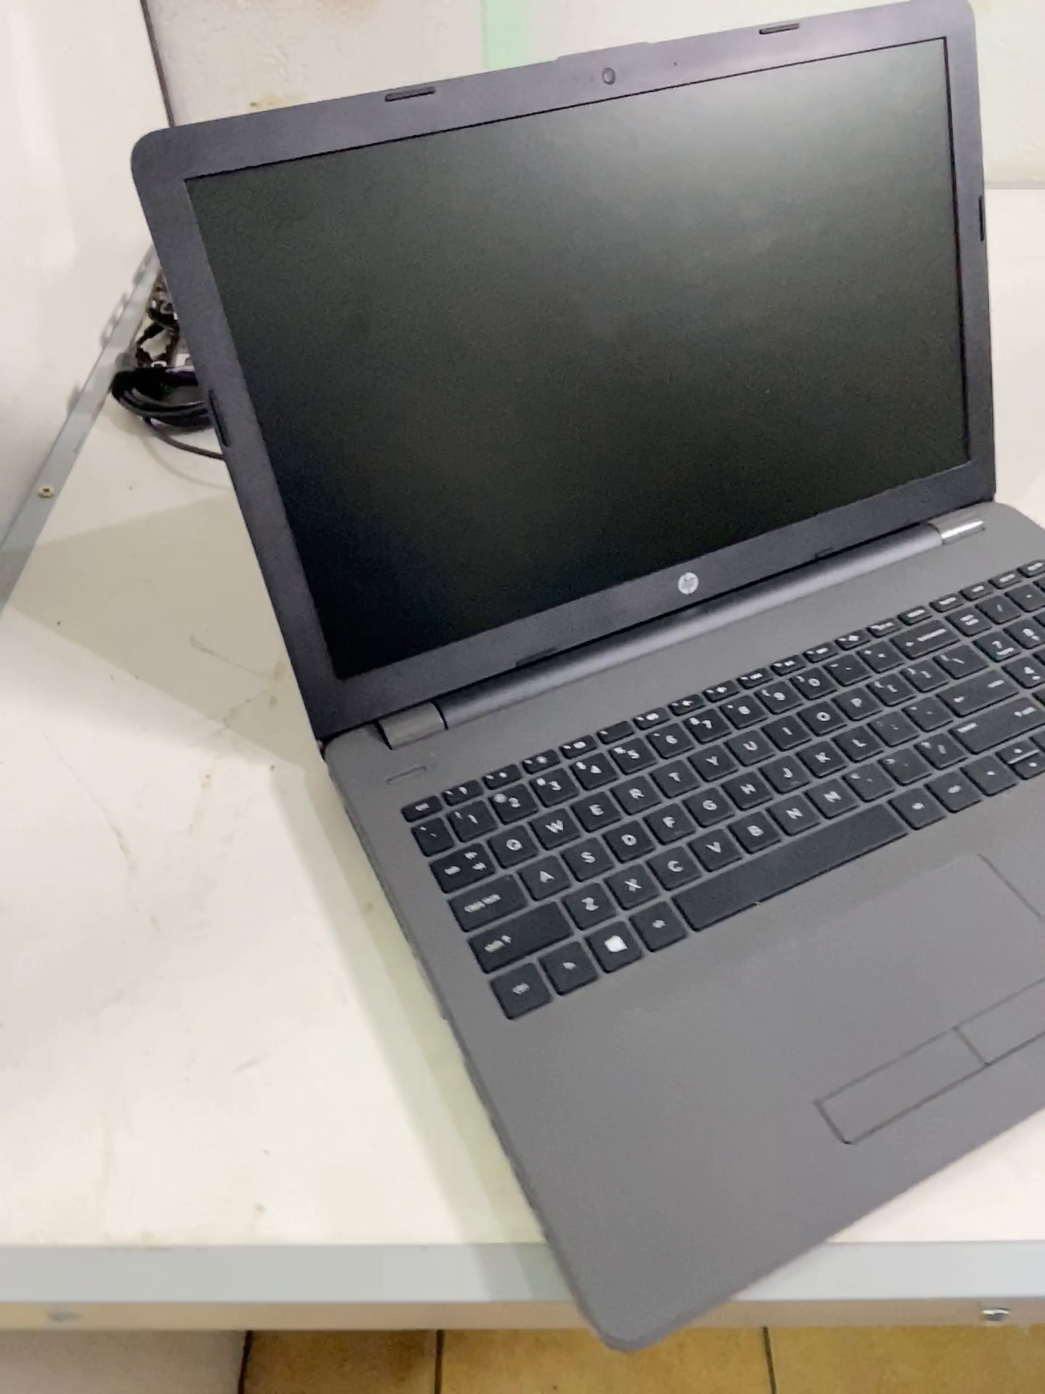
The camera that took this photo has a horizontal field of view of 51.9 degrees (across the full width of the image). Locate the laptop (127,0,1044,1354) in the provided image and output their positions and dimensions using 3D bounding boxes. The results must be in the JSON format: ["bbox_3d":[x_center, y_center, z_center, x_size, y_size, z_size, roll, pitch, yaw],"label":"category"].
[{"bbox_3d":[0.114,-0.067,0.399,0.380,0.206,0.366,-21,51,-17],"label":"laptop"}]
